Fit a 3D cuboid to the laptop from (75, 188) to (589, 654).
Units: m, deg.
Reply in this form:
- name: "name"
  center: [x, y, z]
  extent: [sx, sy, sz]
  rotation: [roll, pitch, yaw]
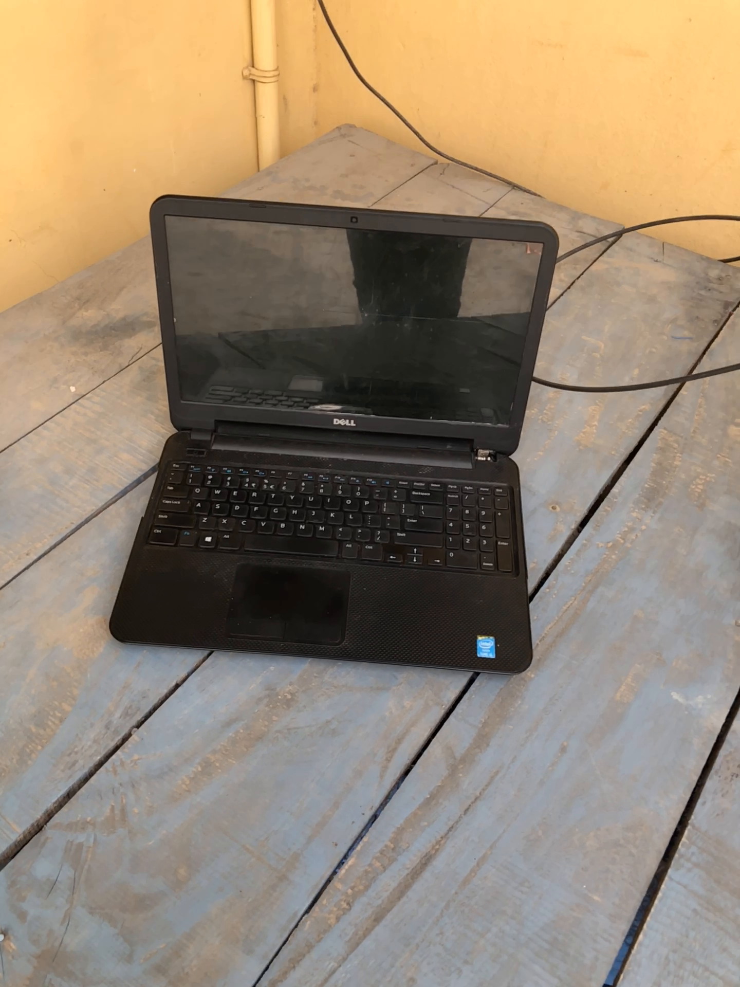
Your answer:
- name: "laptop"
  center: [-0.018, -0.070, 0.698]
  extent: [0.331, 0.214, 0.308]
  rotation: [4, 49, 1]
